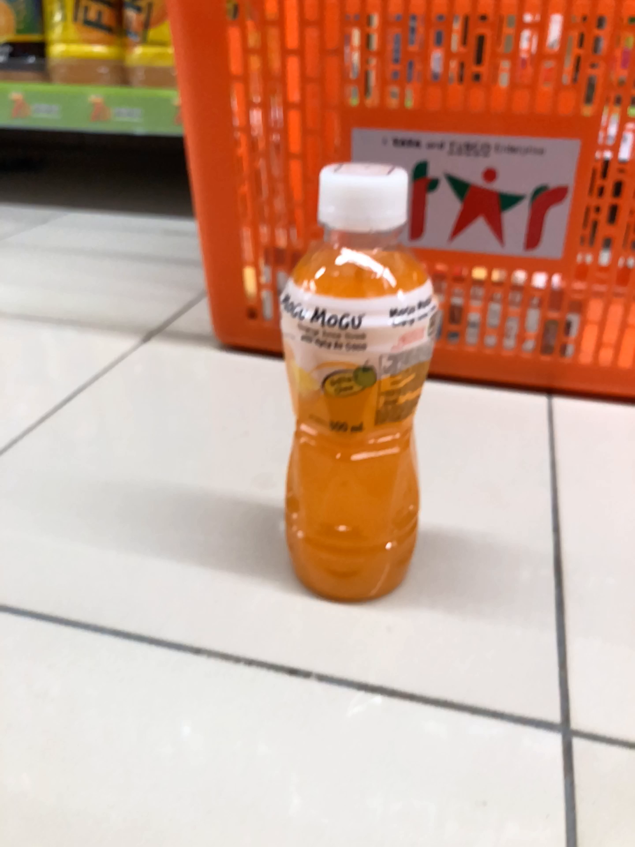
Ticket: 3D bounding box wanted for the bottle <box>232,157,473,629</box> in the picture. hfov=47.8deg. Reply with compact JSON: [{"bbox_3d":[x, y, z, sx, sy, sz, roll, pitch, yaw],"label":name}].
[{"bbox_3d":[0.011,-0.011,0.270,0.060,0.159,0.050,25,37,38],"label":"bottle"}]
